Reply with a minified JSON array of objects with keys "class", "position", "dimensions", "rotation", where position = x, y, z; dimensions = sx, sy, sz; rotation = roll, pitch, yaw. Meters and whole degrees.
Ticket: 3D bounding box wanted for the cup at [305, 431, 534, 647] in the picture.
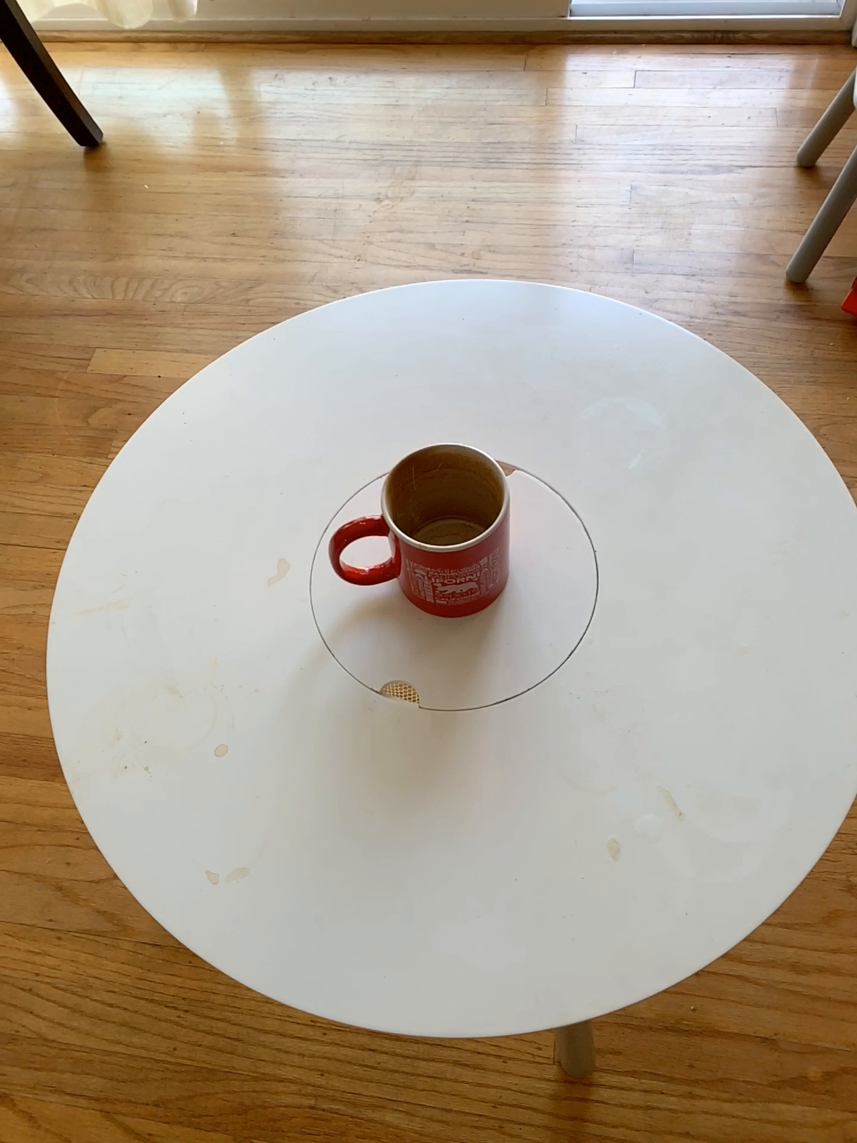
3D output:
[{"class":"cup","position":[-0.005,-0.019,0.568],"dimensions":[0.130,0.090,0.090],"rotation":[-8,62,1]}]
